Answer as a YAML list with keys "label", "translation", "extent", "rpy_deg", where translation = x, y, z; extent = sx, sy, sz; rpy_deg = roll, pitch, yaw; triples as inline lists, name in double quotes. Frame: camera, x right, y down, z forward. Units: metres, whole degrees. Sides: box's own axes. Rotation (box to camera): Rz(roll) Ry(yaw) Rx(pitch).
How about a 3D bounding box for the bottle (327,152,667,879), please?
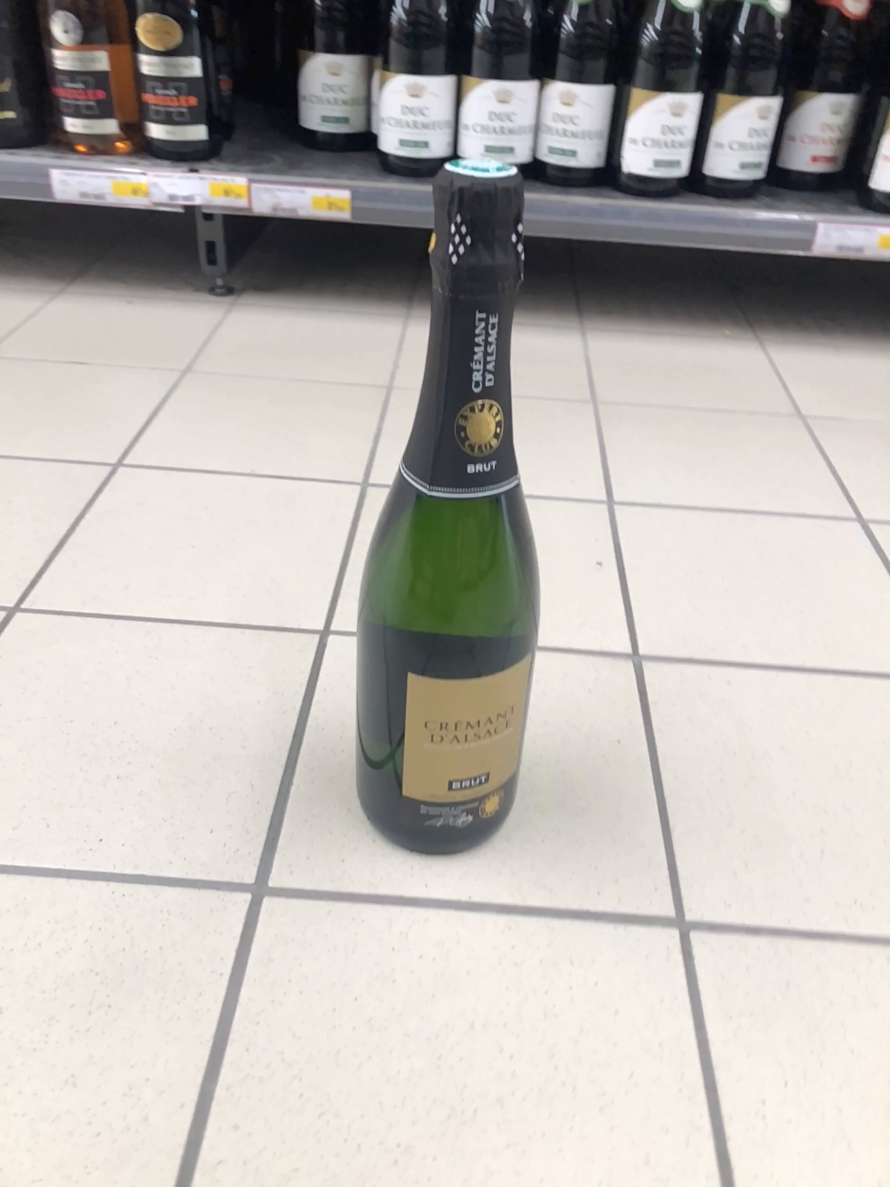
- label: "bottle"
  translation: [0.006, -0.021, 0.435]
  extent: [0.100, 0.308, 0.090]
  rpy_deg: [-6, 35, -14]
